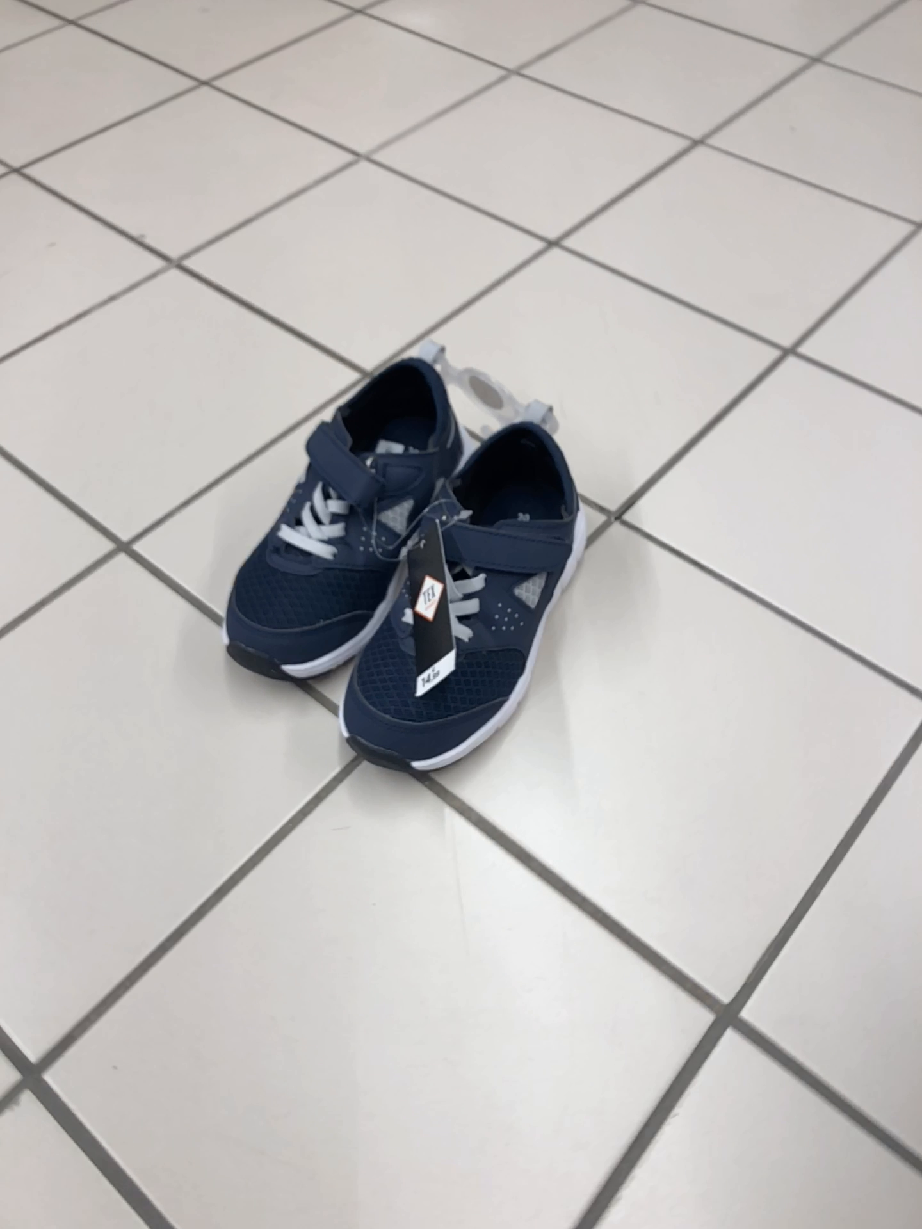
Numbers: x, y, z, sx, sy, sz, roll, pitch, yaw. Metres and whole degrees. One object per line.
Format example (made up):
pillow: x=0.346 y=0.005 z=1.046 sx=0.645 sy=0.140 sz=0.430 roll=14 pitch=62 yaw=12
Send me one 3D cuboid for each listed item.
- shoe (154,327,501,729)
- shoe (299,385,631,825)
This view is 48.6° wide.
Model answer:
shoe: x=-0.059 y=-0.052 z=0.541 sx=0.083 sy=0.084 sz=0.196 roll=21 pitch=55 yaw=16
shoe: x=0.010 y=-0.012 z=0.504 sx=0.081 sy=0.080 sz=0.199 roll=19 pitch=54 yaw=15
